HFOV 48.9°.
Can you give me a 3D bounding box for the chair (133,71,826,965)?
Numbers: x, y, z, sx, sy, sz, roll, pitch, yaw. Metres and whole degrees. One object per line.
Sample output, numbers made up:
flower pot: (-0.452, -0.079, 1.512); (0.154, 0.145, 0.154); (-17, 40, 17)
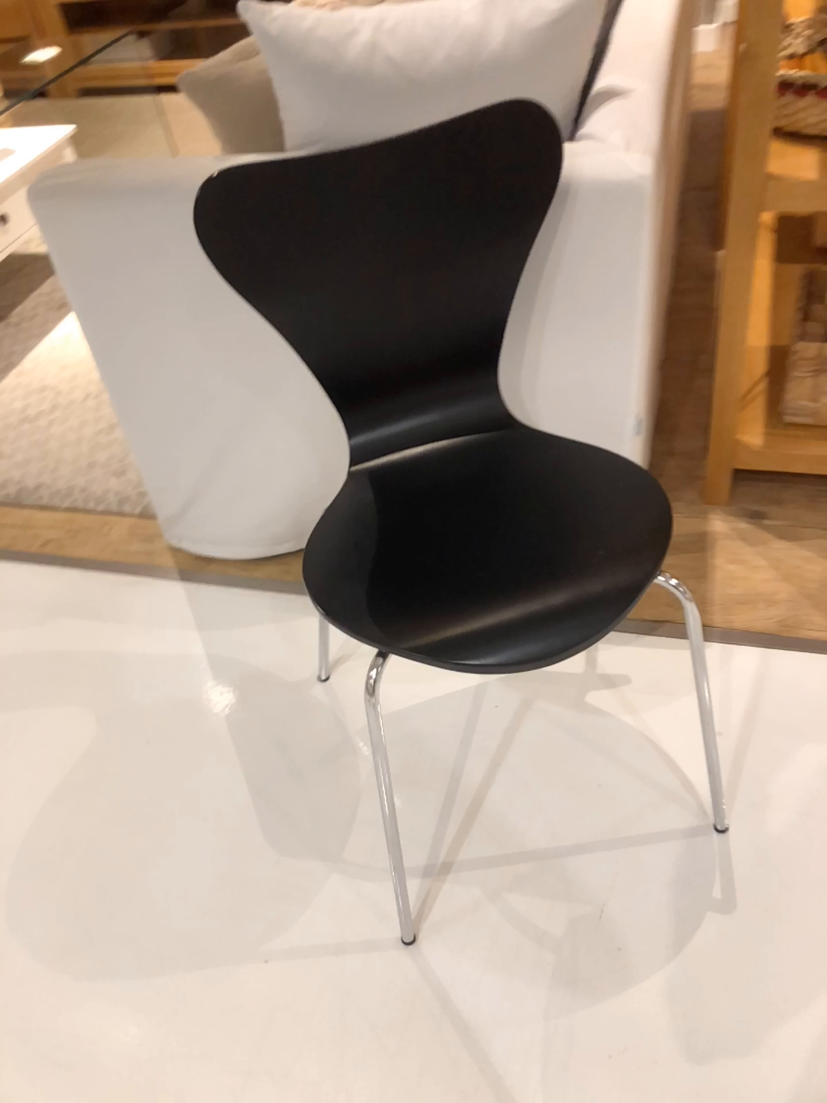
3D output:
chair: (0.080, -0.025, 1.086); (0.540, 0.774, 0.554); (-17, 43, -7)
